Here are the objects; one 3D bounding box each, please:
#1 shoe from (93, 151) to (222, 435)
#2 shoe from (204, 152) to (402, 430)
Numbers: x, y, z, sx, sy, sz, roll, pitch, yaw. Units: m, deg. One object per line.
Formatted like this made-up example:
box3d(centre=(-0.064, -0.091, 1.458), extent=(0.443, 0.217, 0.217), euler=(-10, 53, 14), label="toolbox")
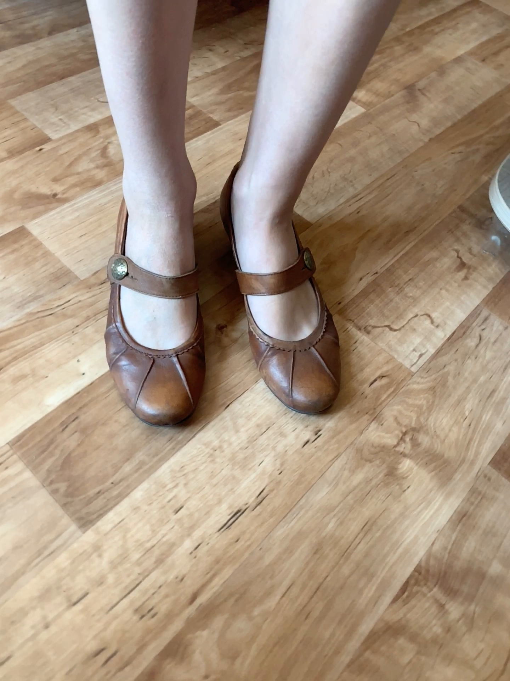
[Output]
box3d(centre=(-0.092, -0.053, 0.473), extent=(0.090, 0.090, 0.251), euler=(-3, 57, -11), label="shoe")
box3d(centre=(0.029, -0.057, 0.495), extent=(0.090, 0.090, 0.251), euler=(-11, 59, -16), label="shoe")
